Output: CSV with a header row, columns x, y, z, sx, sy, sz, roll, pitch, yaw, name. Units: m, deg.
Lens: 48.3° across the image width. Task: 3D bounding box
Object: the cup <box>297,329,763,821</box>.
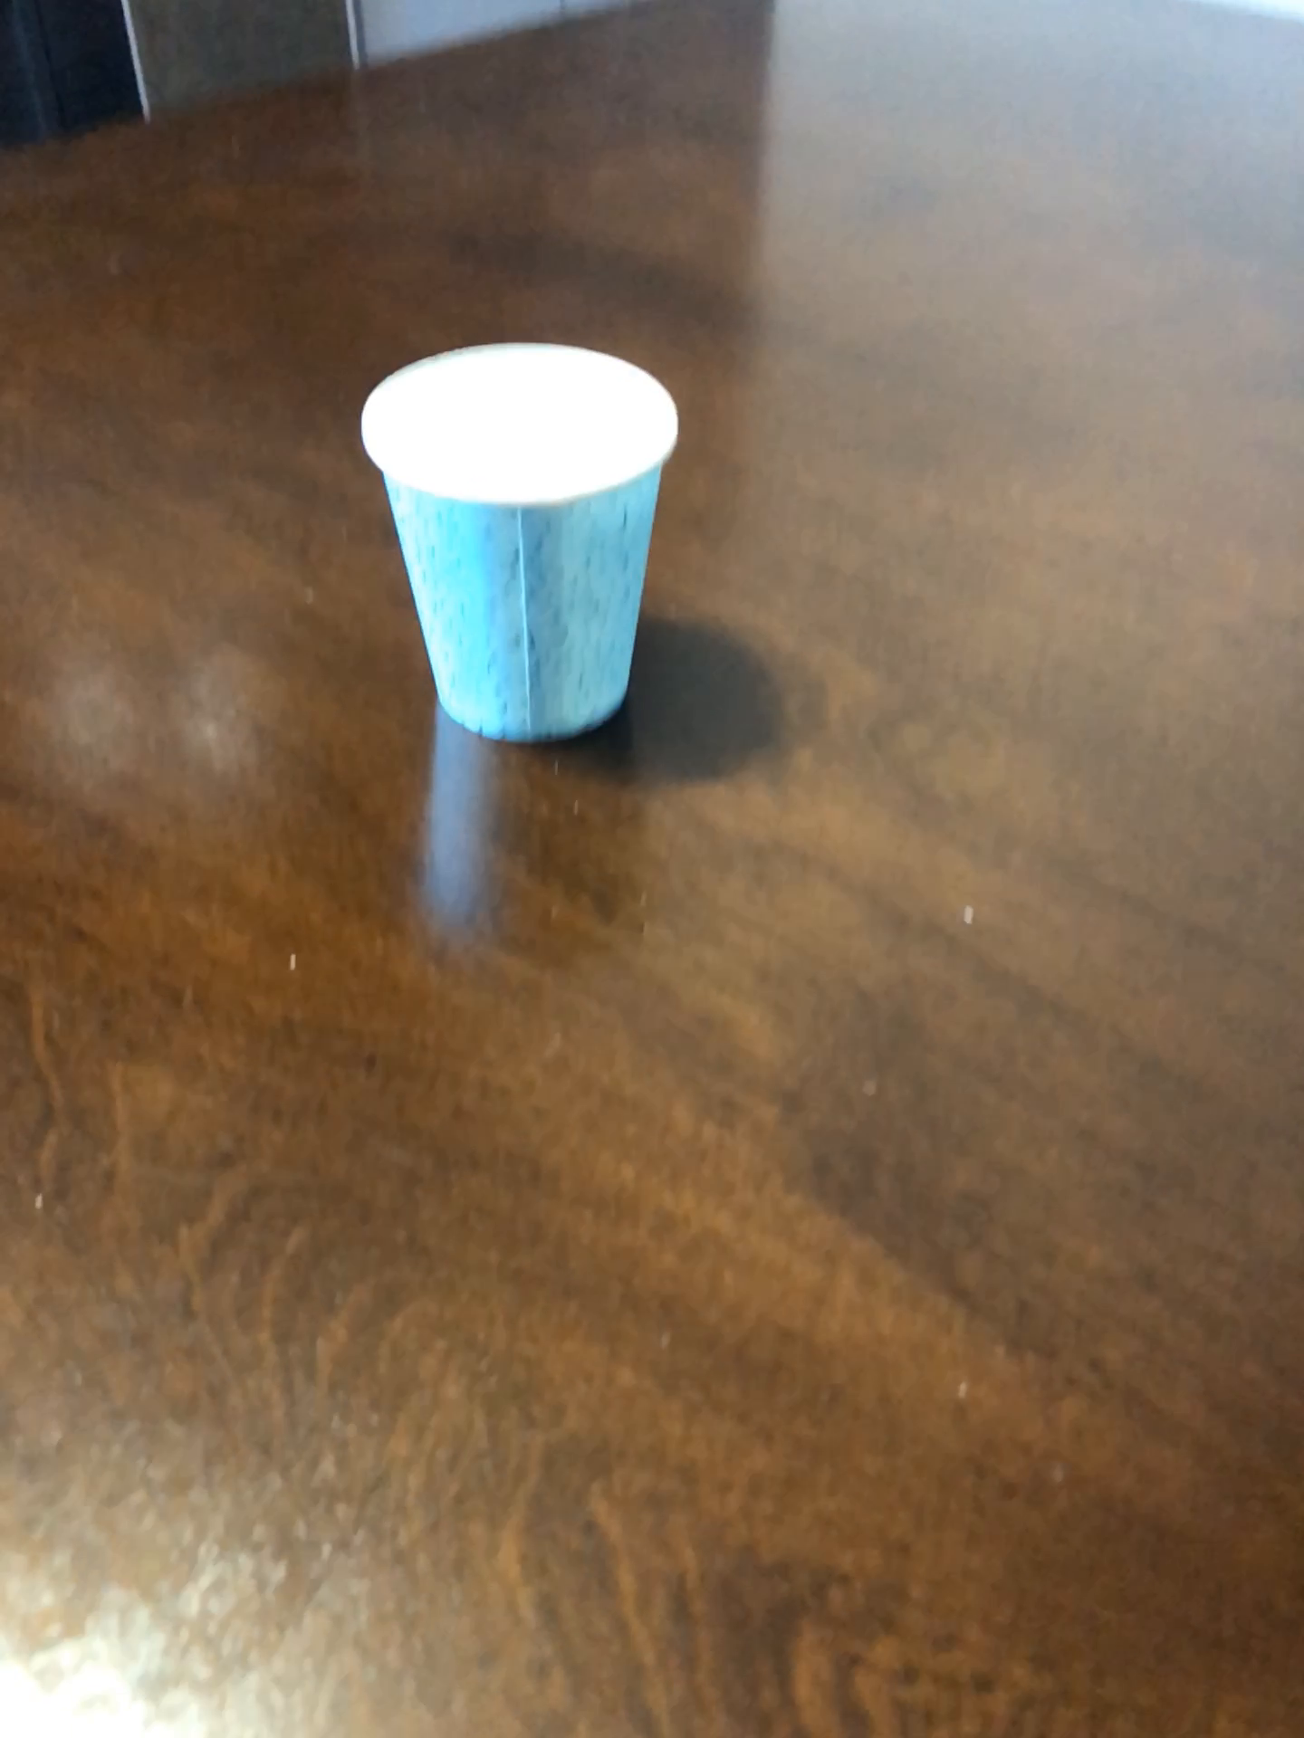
x,y,z,sx,sy,sz,roll,pitch,yaw,name
-0.022,-0.060,0.286,0.060,0.060,0.060,1,42,-1,cup
